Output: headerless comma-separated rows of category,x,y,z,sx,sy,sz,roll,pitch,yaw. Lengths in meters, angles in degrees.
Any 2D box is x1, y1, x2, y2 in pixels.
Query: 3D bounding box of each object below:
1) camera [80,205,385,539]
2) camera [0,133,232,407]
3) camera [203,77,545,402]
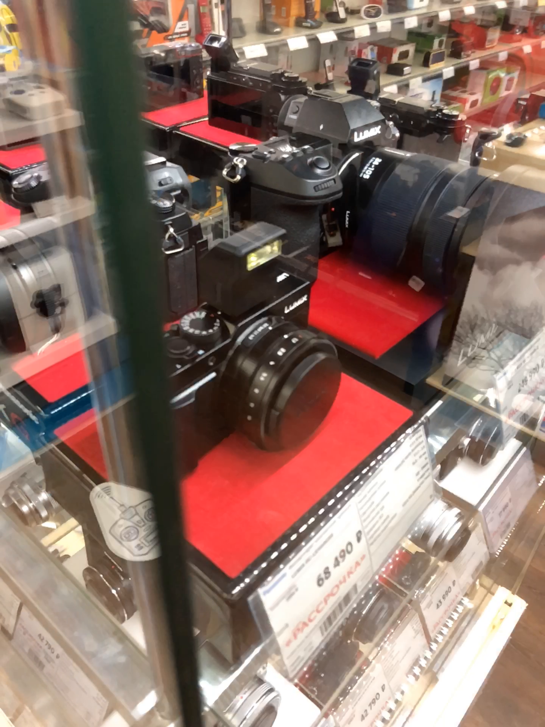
camera,-0.014,-0.003,0.287,0.069,0.098,0.117,28,44,30
camera,-0.112,-0.064,0.344,0.099,0.081,0.149,31,46,32
camera,0.095,-0.109,0.426,0.226,0.114,0.176,28,45,30
